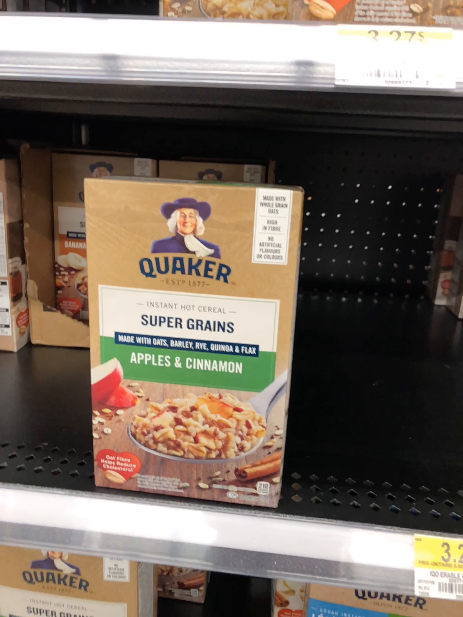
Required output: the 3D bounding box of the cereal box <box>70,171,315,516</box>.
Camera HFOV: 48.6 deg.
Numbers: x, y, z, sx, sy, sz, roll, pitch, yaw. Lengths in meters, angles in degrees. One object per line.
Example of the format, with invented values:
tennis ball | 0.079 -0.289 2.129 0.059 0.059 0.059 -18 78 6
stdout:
cereal box | -0.023 0.020 0.326 0.130 0.199 0.060 5 18 6
